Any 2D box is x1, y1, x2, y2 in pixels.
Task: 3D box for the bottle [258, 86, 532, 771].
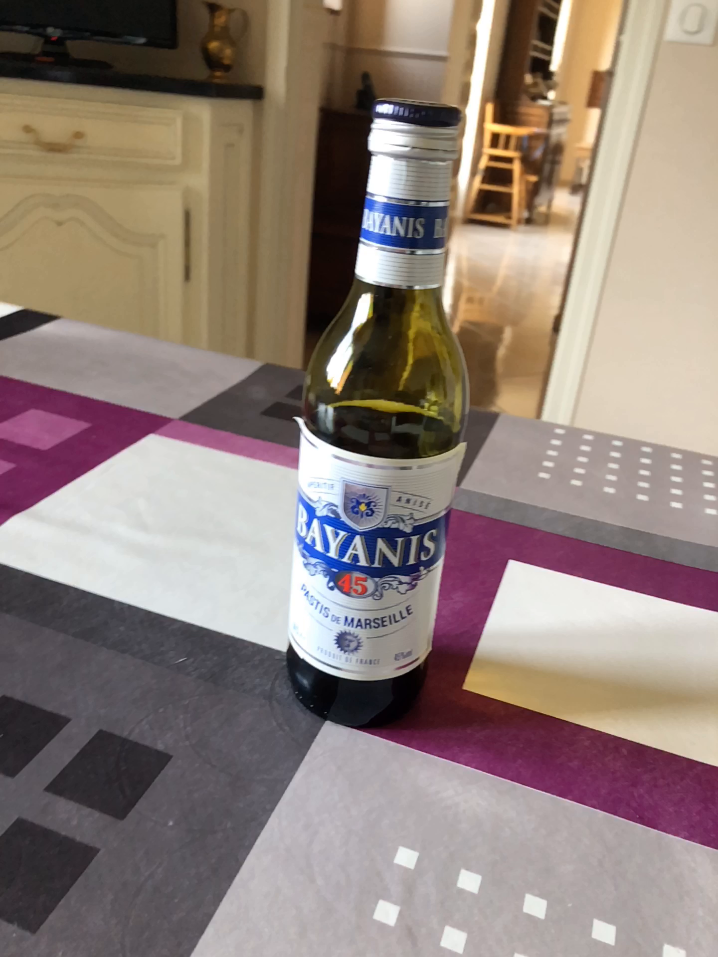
[{"bbox_3d":[0.009,-0.011,0.321,0.070,0.259,0.070,5,26,-2],"label":"bottle"}]
